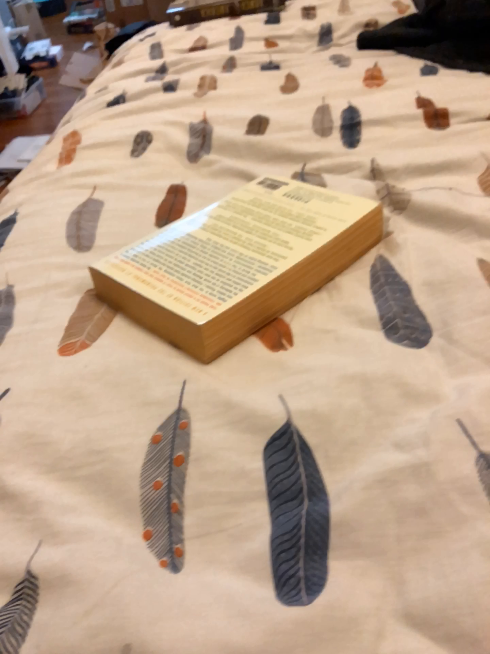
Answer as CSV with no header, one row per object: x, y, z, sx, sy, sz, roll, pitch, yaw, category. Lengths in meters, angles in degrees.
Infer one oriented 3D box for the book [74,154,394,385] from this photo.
-0.003,-0.066,0.454,0.150,0.040,0.221,28,53,33,book
